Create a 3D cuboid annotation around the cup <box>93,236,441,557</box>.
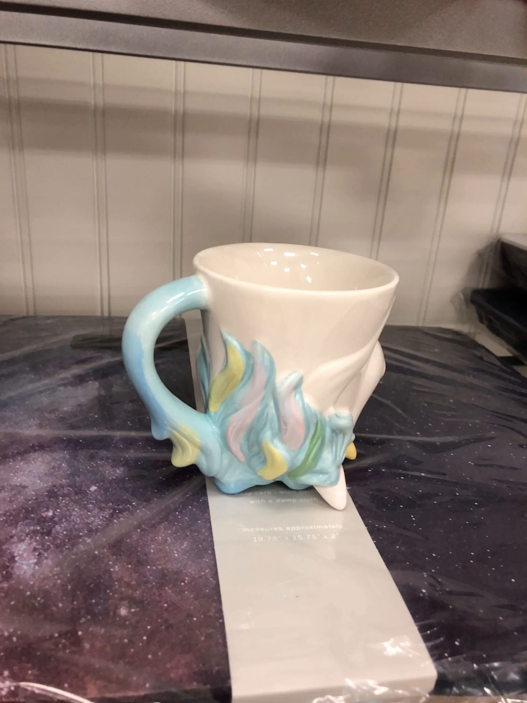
[{"bbox_3d":[-0.008,0.011,0.302,0.140,0.118,0.101,-5,24,-21],"label":"cup"}]
